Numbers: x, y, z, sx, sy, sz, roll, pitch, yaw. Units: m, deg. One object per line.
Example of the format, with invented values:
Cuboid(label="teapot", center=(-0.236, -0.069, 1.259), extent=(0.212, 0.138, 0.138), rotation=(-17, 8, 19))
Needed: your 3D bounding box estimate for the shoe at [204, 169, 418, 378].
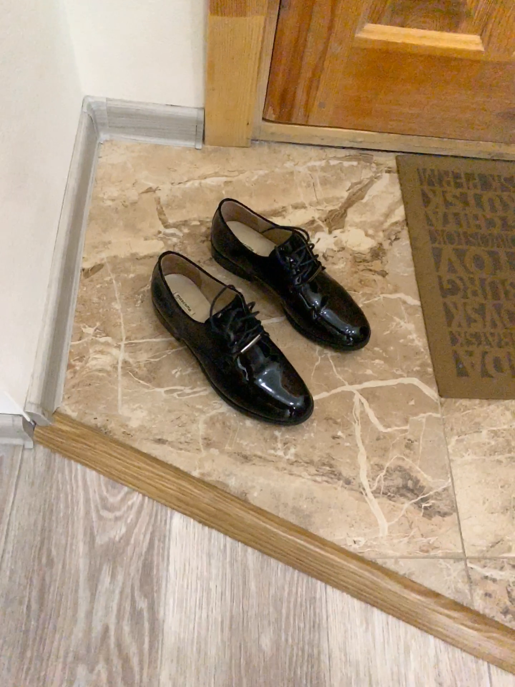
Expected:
Cuboid(label="shoe", center=(0.053, -0.083, 0.633), extent=(0.230, 0.110, 0.090), rotation=(39, 66, 12))

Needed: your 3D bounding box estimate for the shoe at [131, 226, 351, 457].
Cuboid(label="shoe", center=(-0.025, -0.001, 0.579), extent=(0.086, 0.110, 0.230), rotation=(-40, 75, -23))
